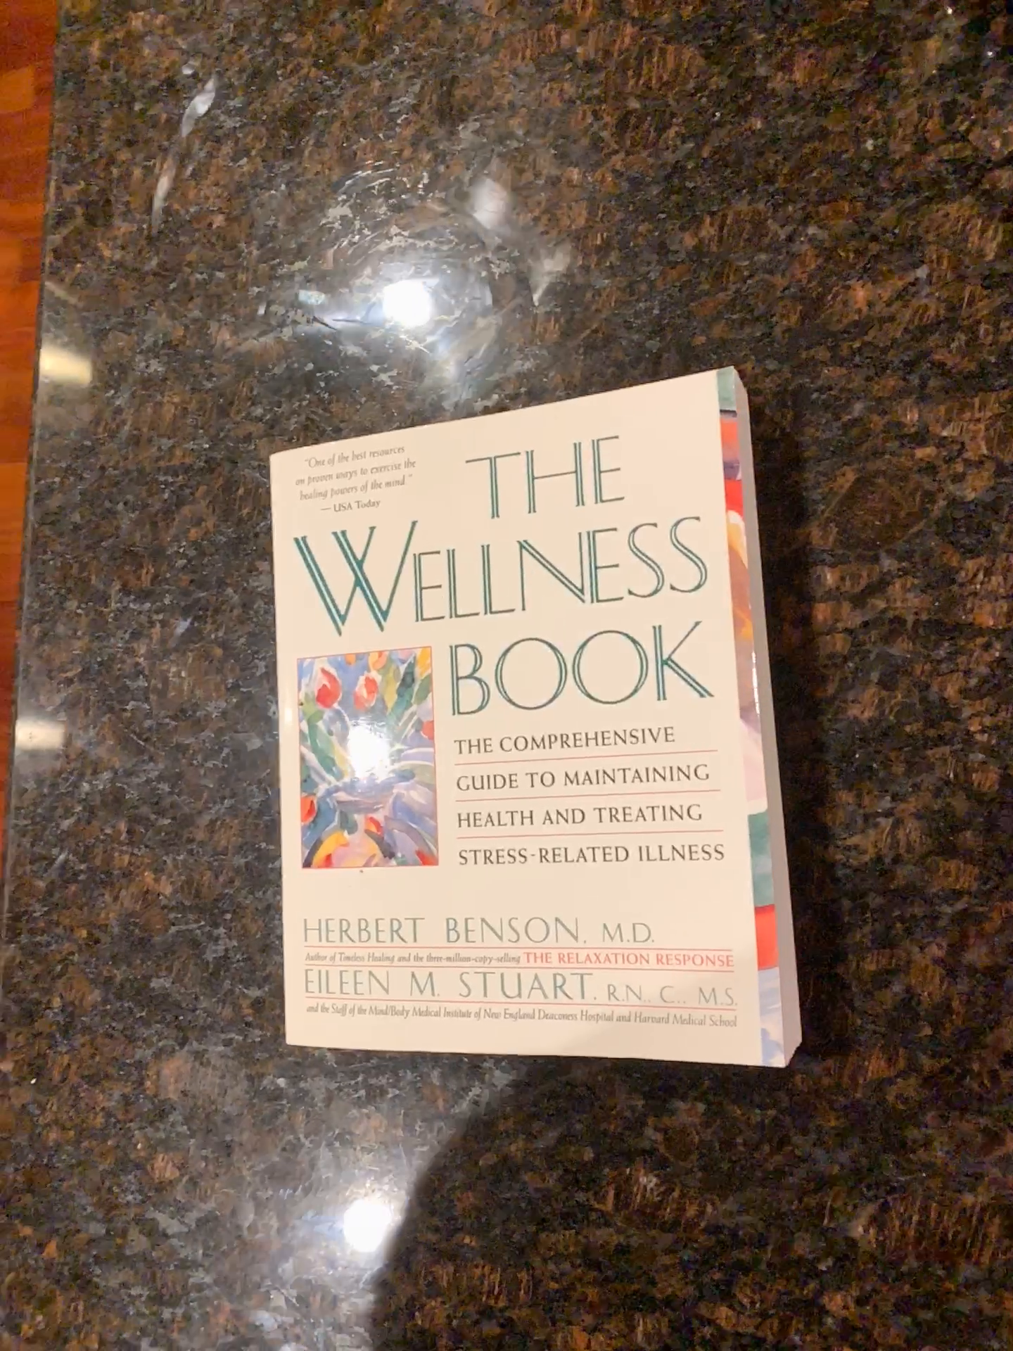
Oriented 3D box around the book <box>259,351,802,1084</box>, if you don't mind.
[{"bbox_3d":[0.005,0.020,0.399,0.188,0.060,0.240,-5,83,20],"label":"book"}]
